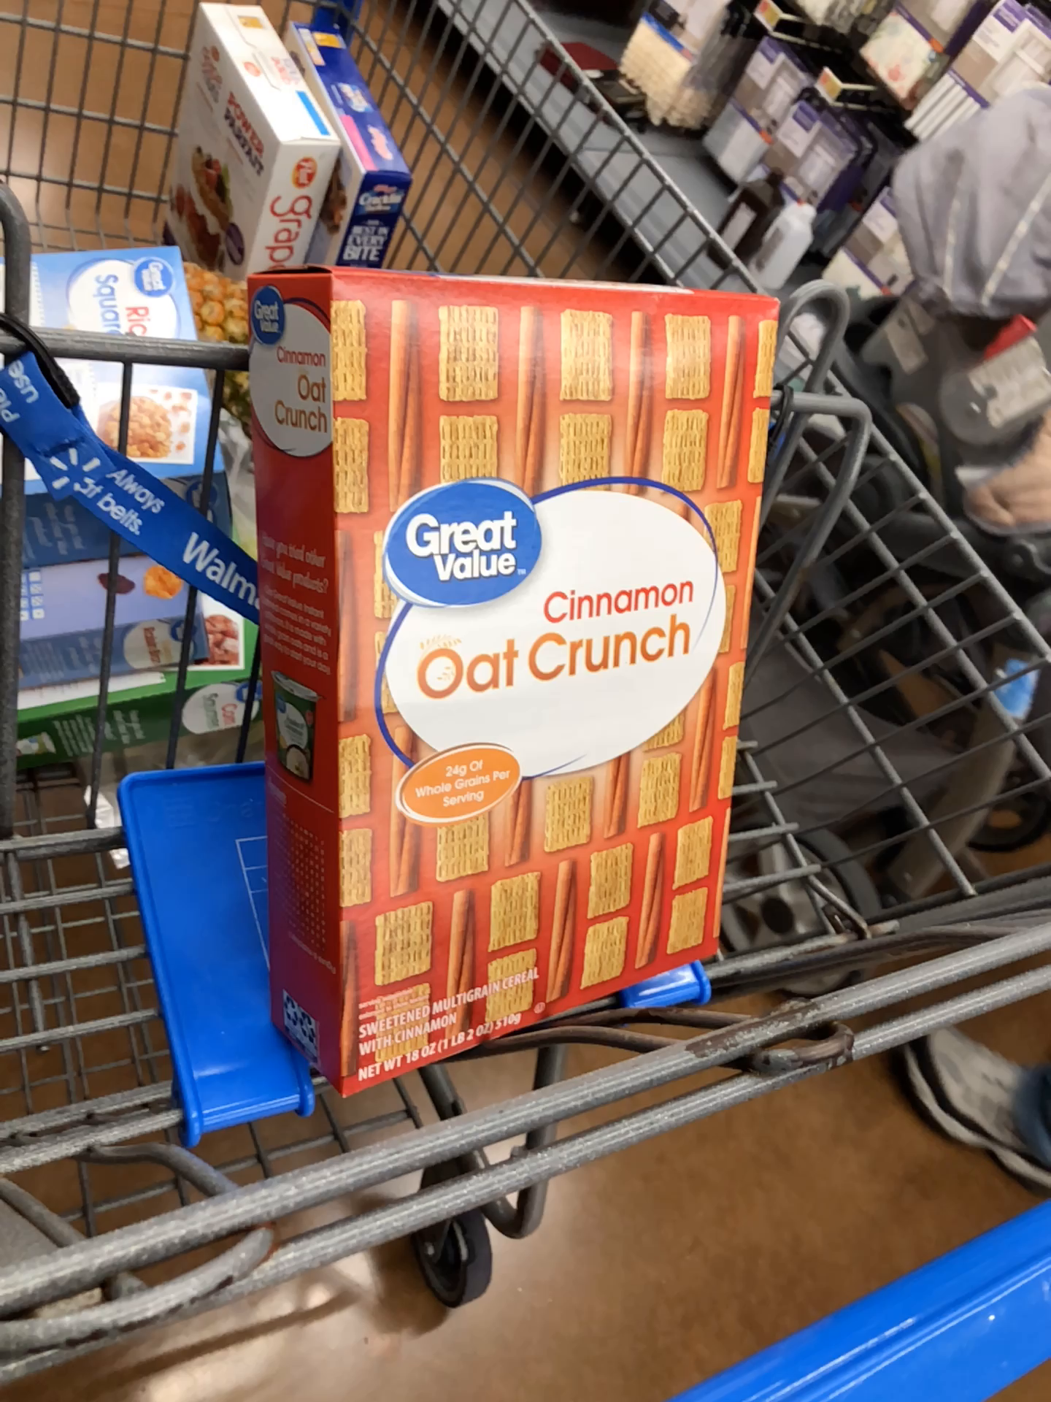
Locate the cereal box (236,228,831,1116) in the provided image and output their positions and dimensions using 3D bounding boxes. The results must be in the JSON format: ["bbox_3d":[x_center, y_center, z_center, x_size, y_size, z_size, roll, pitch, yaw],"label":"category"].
[{"bbox_3d":[0.004,-0.017,0.437,0.201,0.280,0.070,-10,22,-36],"label":"cereal box"}]
